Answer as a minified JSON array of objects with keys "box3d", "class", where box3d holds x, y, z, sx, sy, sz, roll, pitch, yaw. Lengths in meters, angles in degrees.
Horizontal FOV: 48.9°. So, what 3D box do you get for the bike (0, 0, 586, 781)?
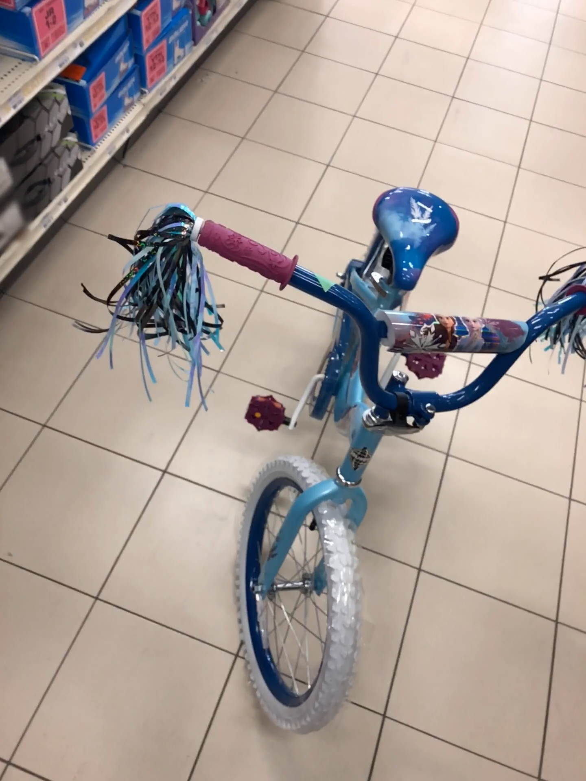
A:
[{"box3d":[0.175,-0.069,1.123,0.640,0.954,1.180,12,53,0],"class":"bike"}]
